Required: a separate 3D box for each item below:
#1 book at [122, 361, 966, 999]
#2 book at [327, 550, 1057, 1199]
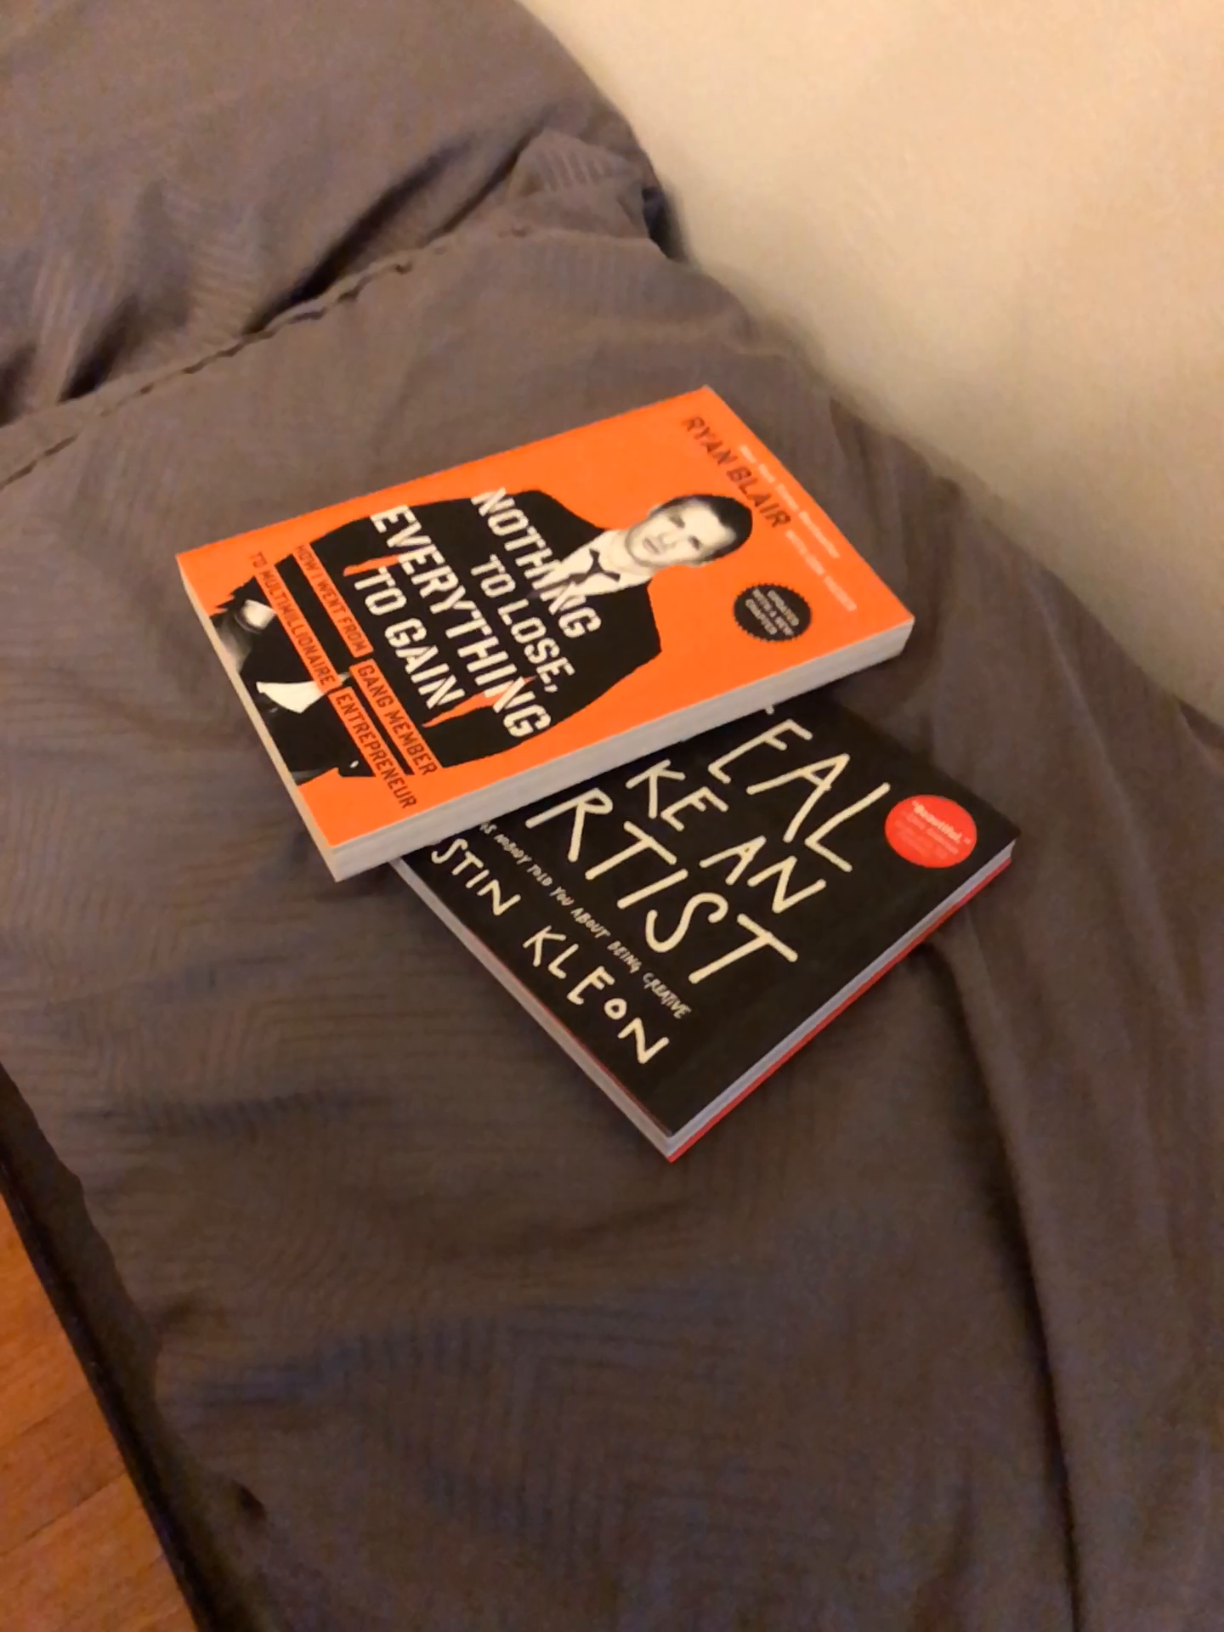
[{"bbox_3d":[-0.024,-0.062,0.463,0.230,0.020,0.171,-25,63,-18],"label":"book"},{"bbox_3d":[0.026,0.005,0.425,0.170,0.020,0.150,-37,66,-25],"label":"book"}]
